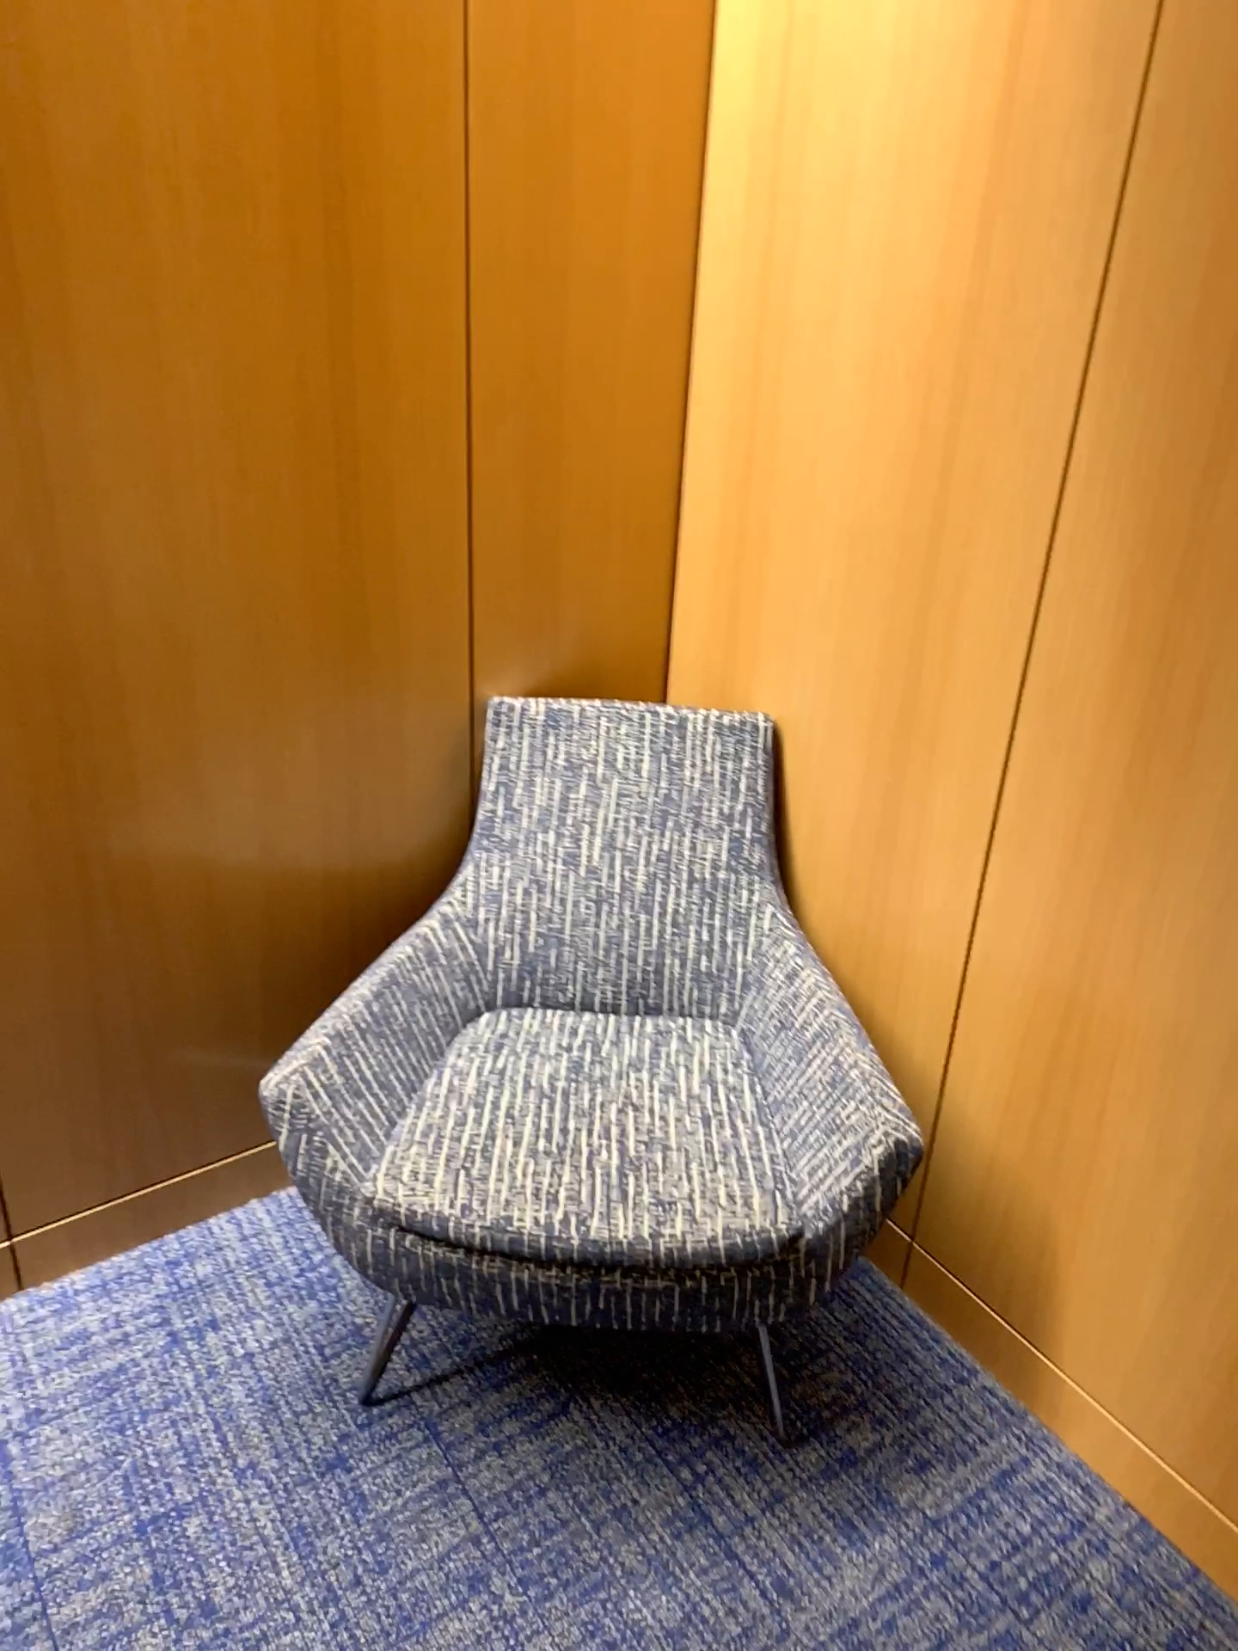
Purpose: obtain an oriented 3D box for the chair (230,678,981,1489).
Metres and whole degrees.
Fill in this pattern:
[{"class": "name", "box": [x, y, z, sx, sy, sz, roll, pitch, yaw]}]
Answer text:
[{"class": "chair", "box": [-0.021, 0.293, 1.610, 0.699, 0.746, 0.617, 4, 27, 1]}]
